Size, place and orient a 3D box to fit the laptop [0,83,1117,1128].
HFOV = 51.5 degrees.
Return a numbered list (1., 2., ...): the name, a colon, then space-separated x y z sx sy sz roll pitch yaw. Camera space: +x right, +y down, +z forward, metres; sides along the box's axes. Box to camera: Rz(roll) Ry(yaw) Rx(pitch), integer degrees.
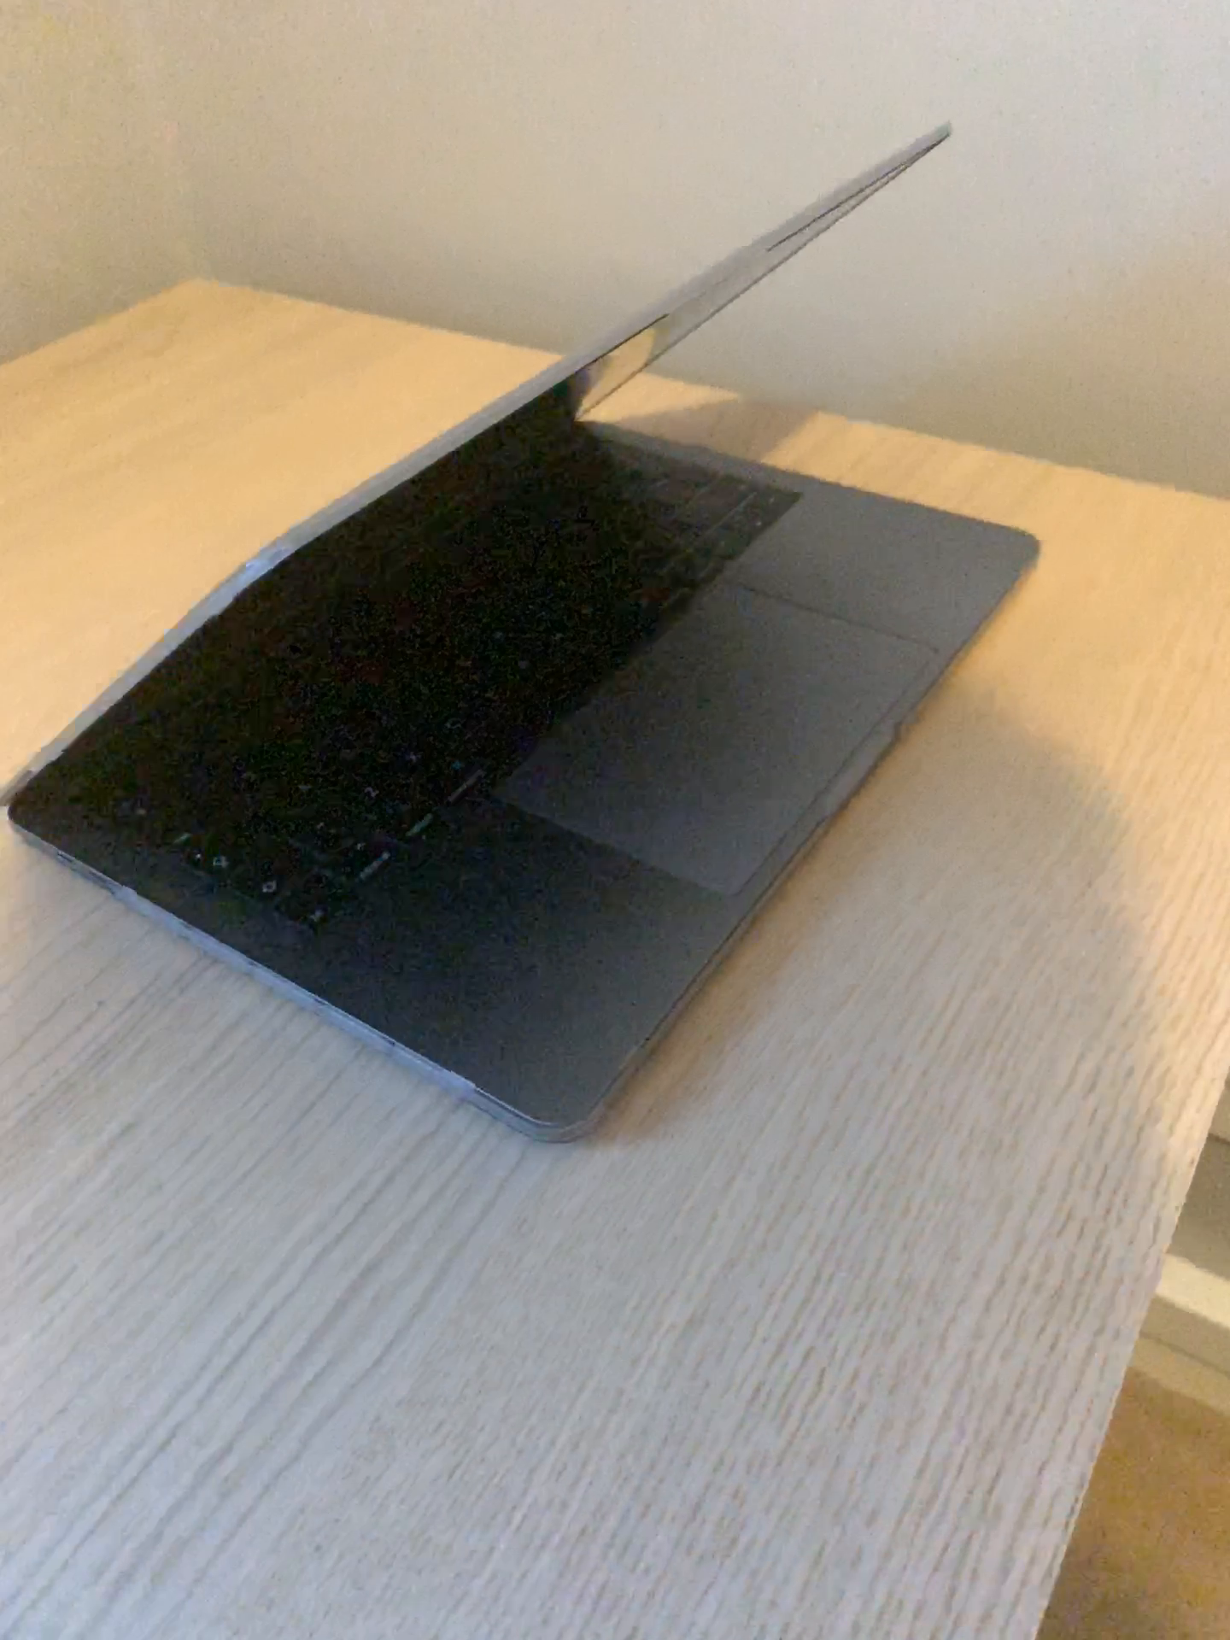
1. laptop: -0.017 -0.100 0.369 0.205 0.130 0.290 22 48 27
